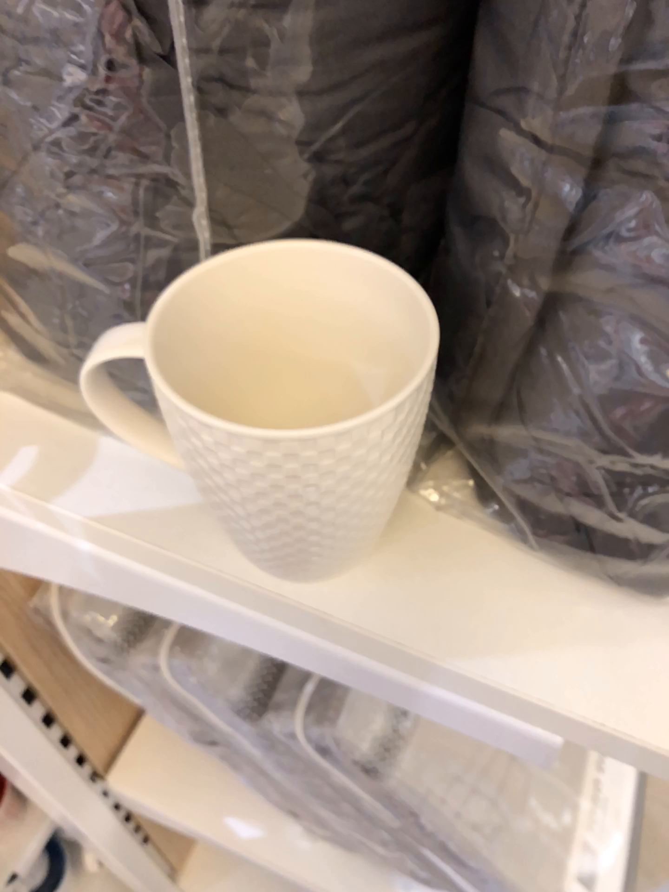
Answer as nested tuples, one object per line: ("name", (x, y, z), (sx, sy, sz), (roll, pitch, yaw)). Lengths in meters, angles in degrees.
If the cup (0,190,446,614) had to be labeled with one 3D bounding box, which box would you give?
("cup", (-0.028, -0.011, 0.225), (0.110, 0.089, 0.081), (3, 50, 3))
